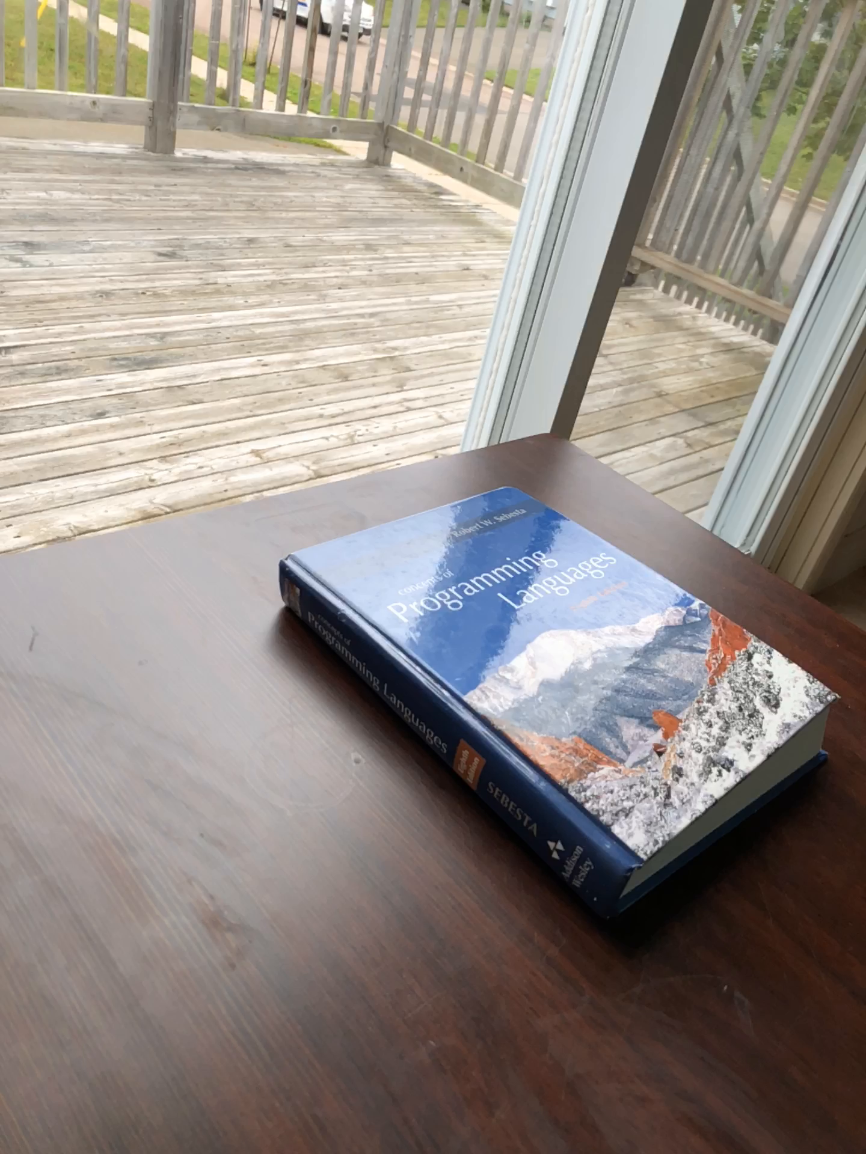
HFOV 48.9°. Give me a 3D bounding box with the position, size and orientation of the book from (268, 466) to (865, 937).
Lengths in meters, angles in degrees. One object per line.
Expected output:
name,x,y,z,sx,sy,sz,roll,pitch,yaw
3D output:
book,0.066,0.036,0.491,0.195,0.048,0.236,-18,46,-40
